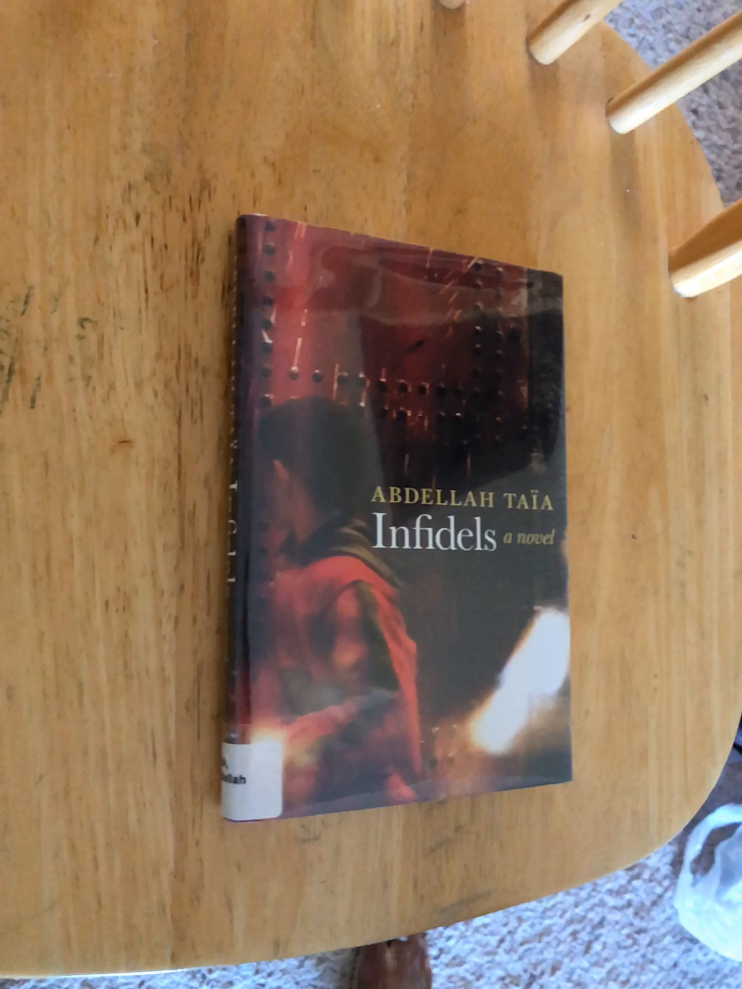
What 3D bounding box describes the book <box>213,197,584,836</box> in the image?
[{"bbox_3d":[0.016,0.008,0.317,0.143,0.020,0.216,4,83,-24],"label":"book"}]
